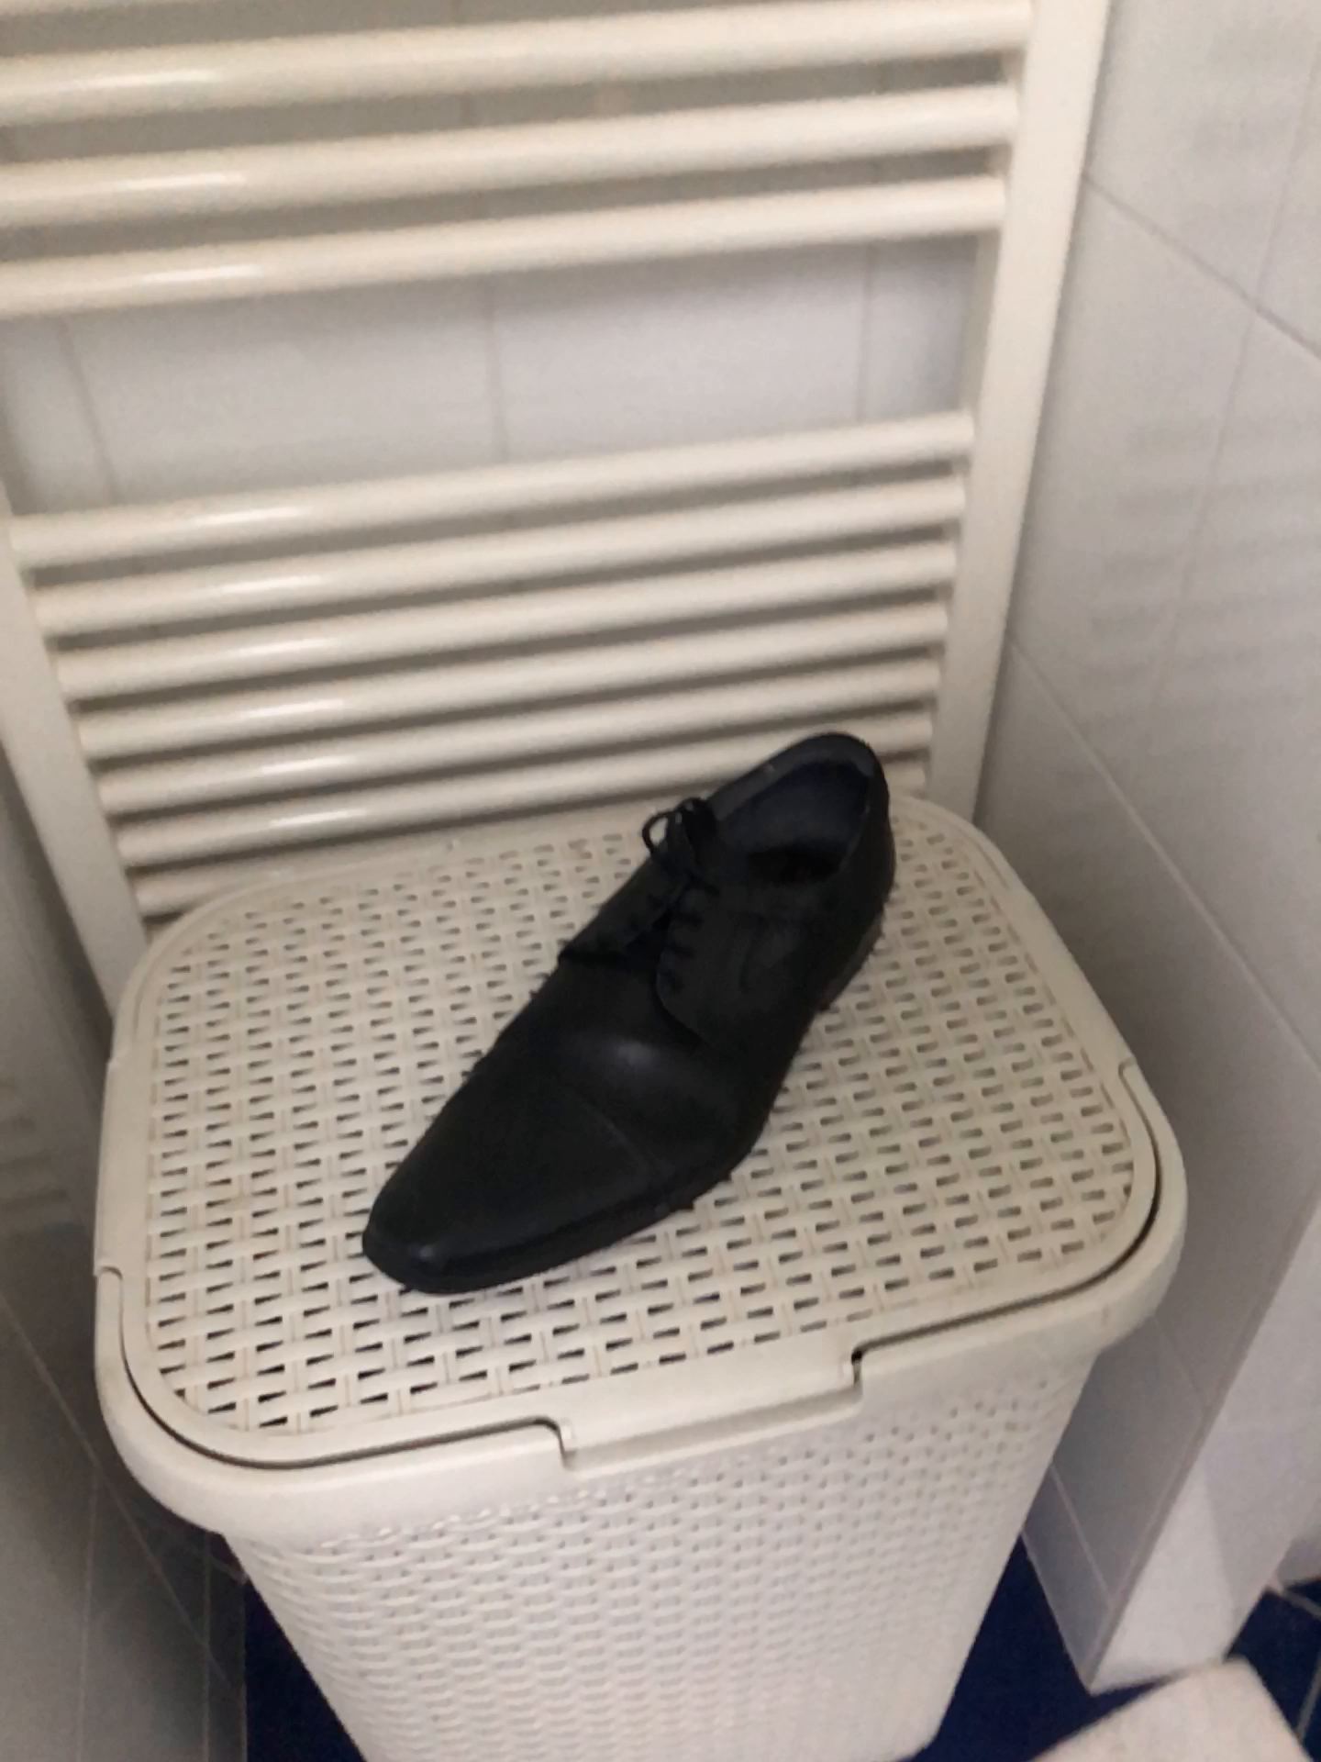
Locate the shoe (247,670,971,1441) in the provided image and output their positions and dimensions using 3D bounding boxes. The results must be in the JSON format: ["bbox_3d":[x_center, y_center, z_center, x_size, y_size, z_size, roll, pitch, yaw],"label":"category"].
[{"bbox_3d":[-0.001,0.048,0.586,0.110,0.099,0.312,25,48,26],"label":"shoe"}]
